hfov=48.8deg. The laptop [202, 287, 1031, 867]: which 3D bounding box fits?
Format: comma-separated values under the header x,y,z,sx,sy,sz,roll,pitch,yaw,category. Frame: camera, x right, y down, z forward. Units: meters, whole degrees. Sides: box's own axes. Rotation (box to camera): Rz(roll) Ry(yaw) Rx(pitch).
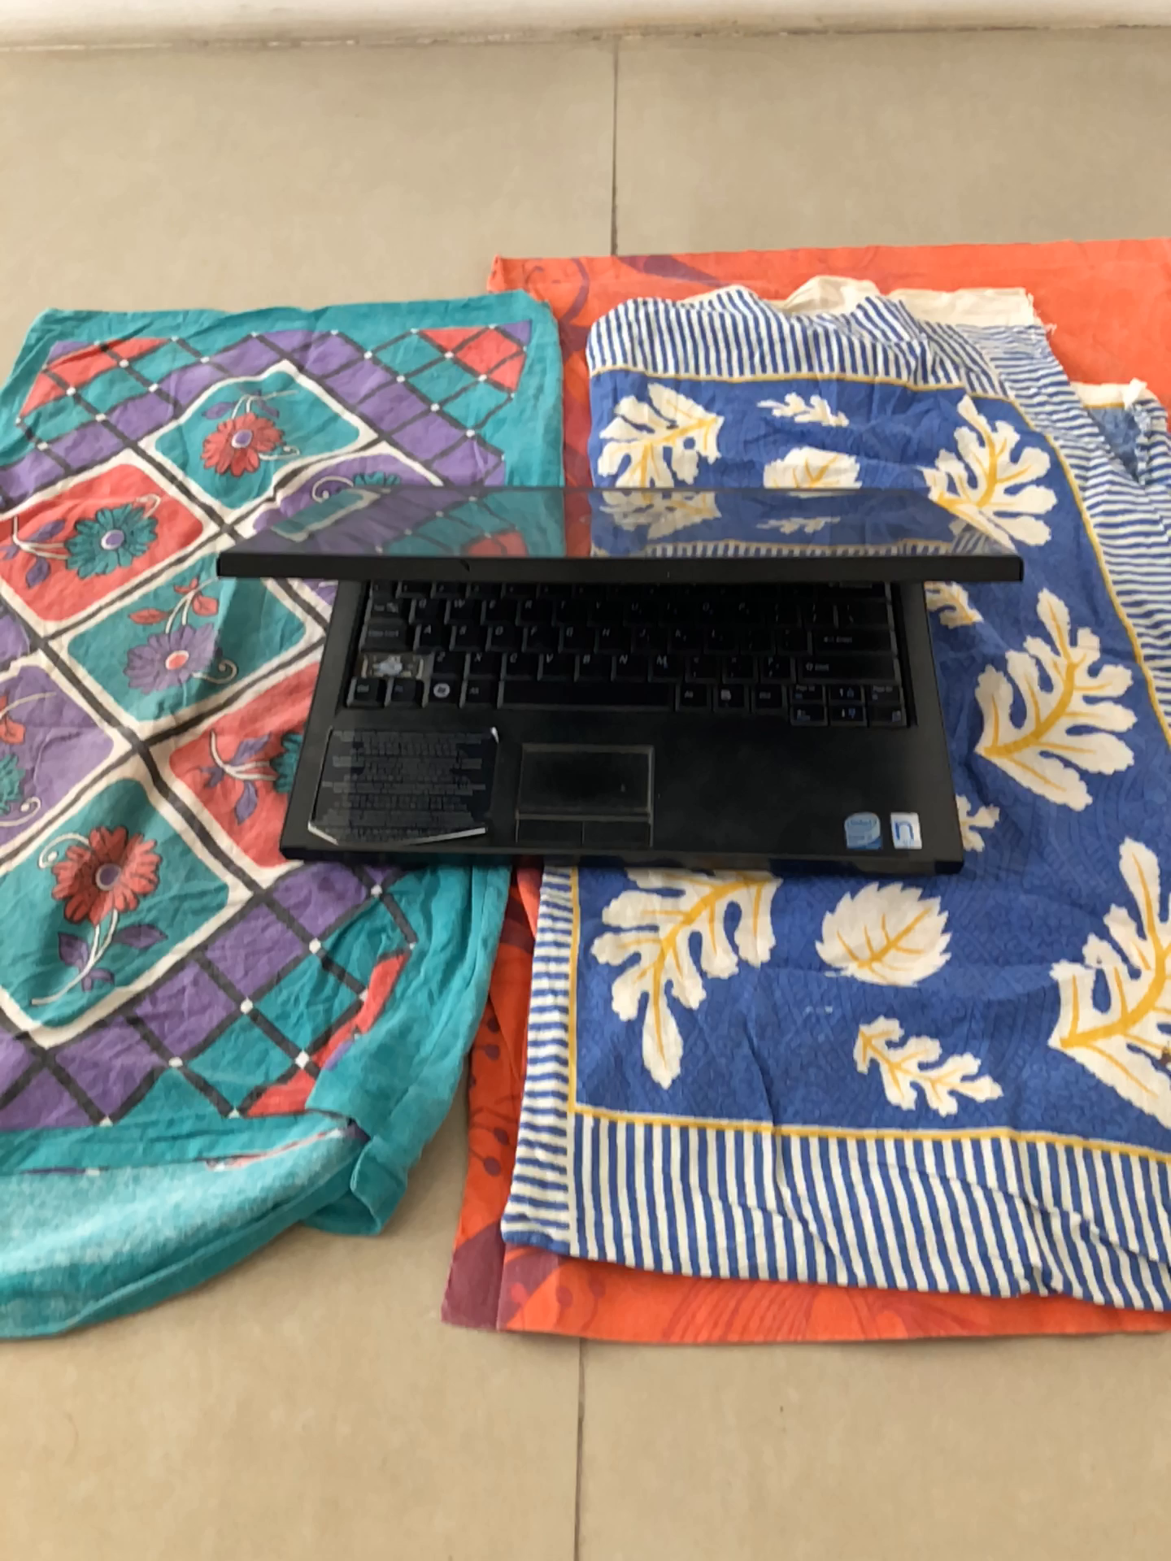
x,y,z,sx,sy,sz,roll,pitch,yaw,category
0.016,-0.100,0.597,0.298,0.143,0.236,1,51,3,laptop
